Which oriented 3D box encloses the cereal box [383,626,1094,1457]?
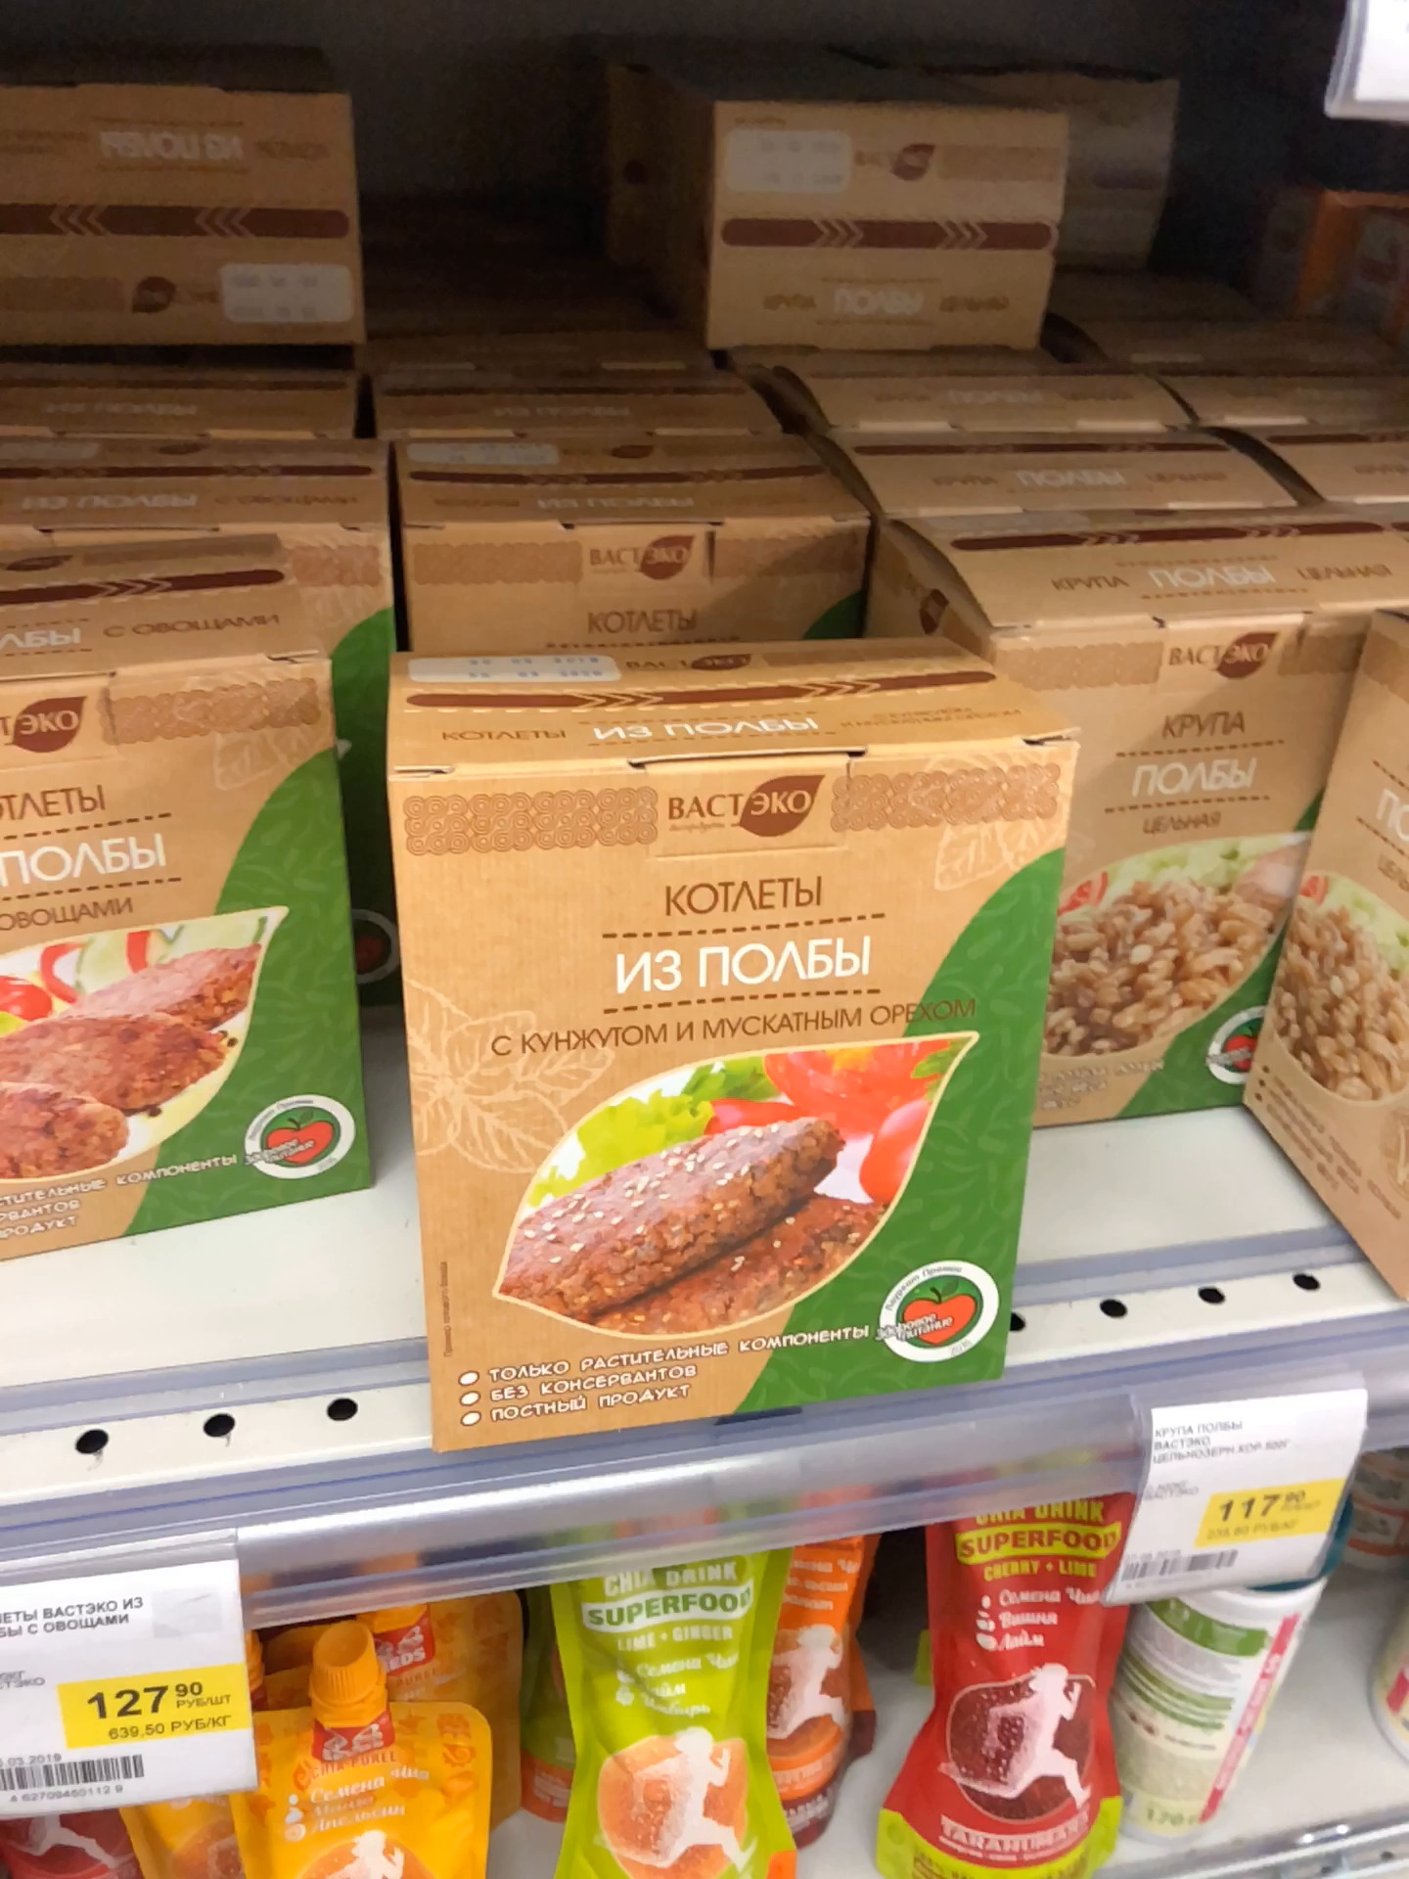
[{"bbox_3d":[-0.001,0.015,0.329,0.120,0.139,0.090,-4,24,-11],"label":"cereal box"}]
